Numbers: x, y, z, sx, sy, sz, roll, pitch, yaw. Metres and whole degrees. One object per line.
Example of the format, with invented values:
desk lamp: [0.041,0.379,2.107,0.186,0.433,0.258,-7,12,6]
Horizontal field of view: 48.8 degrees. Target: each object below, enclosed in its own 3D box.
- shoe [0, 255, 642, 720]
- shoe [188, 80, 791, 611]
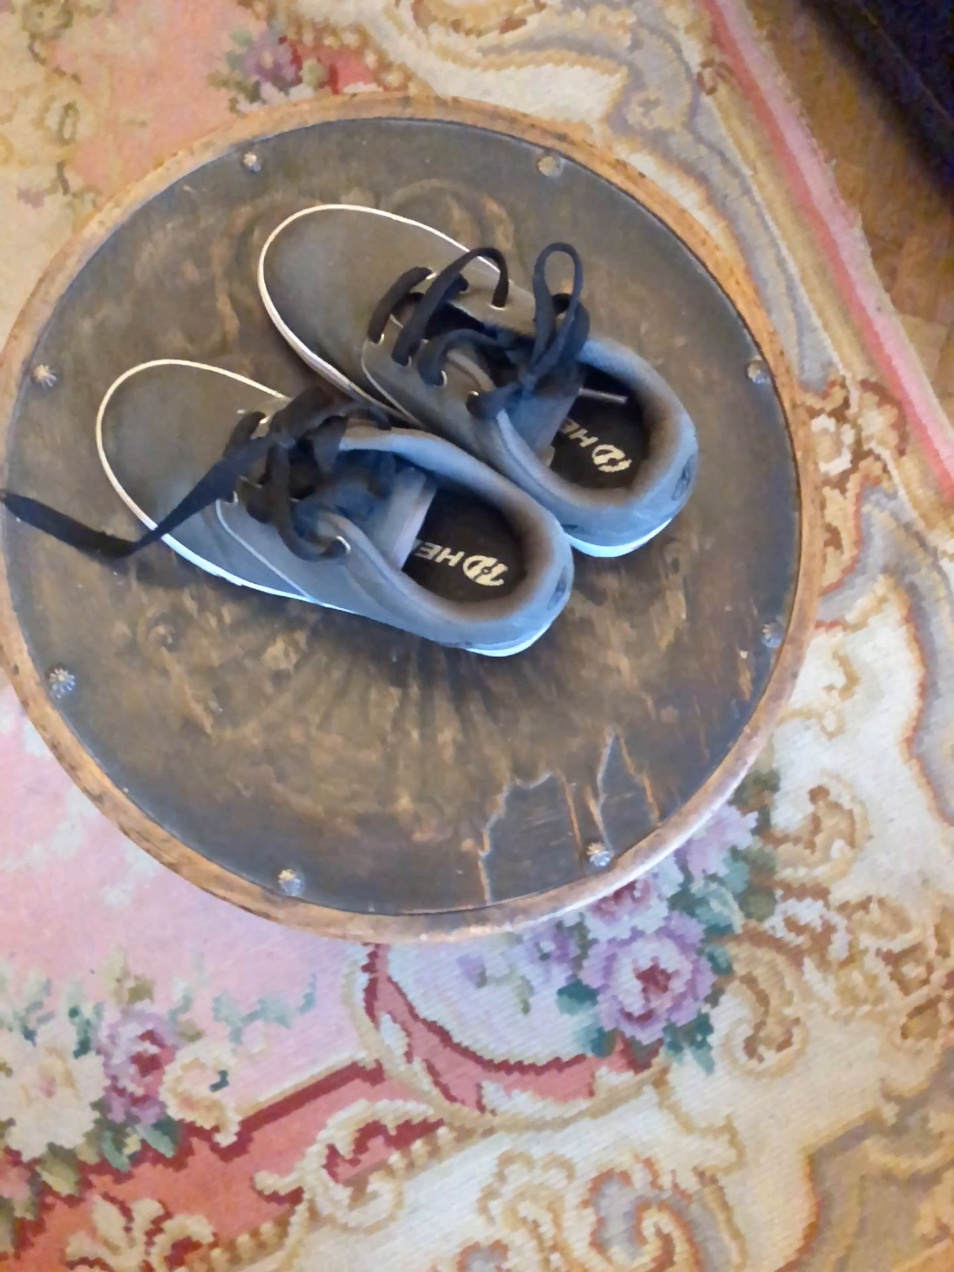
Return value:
shoe: [-0.058,-0.050,0.427,0.211,0.100,0.090,24,84,-2]
shoe: [0.003,-0.111,0.443,0.211,0.100,0.090,33,84,-1]
